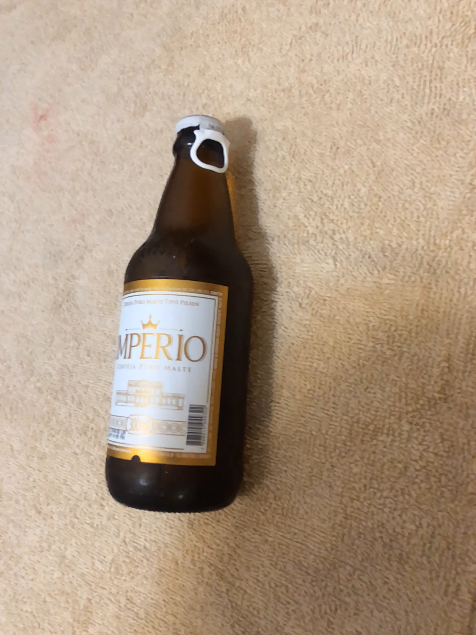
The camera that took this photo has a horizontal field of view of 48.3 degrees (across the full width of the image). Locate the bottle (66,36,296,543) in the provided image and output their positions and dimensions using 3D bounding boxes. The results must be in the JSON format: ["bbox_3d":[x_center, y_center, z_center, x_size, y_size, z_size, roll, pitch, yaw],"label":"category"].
[{"bbox_3d":[-0.020,-0.011,0.235,0.060,0.060,0.190,-3,78,34],"label":"bottle"}]
